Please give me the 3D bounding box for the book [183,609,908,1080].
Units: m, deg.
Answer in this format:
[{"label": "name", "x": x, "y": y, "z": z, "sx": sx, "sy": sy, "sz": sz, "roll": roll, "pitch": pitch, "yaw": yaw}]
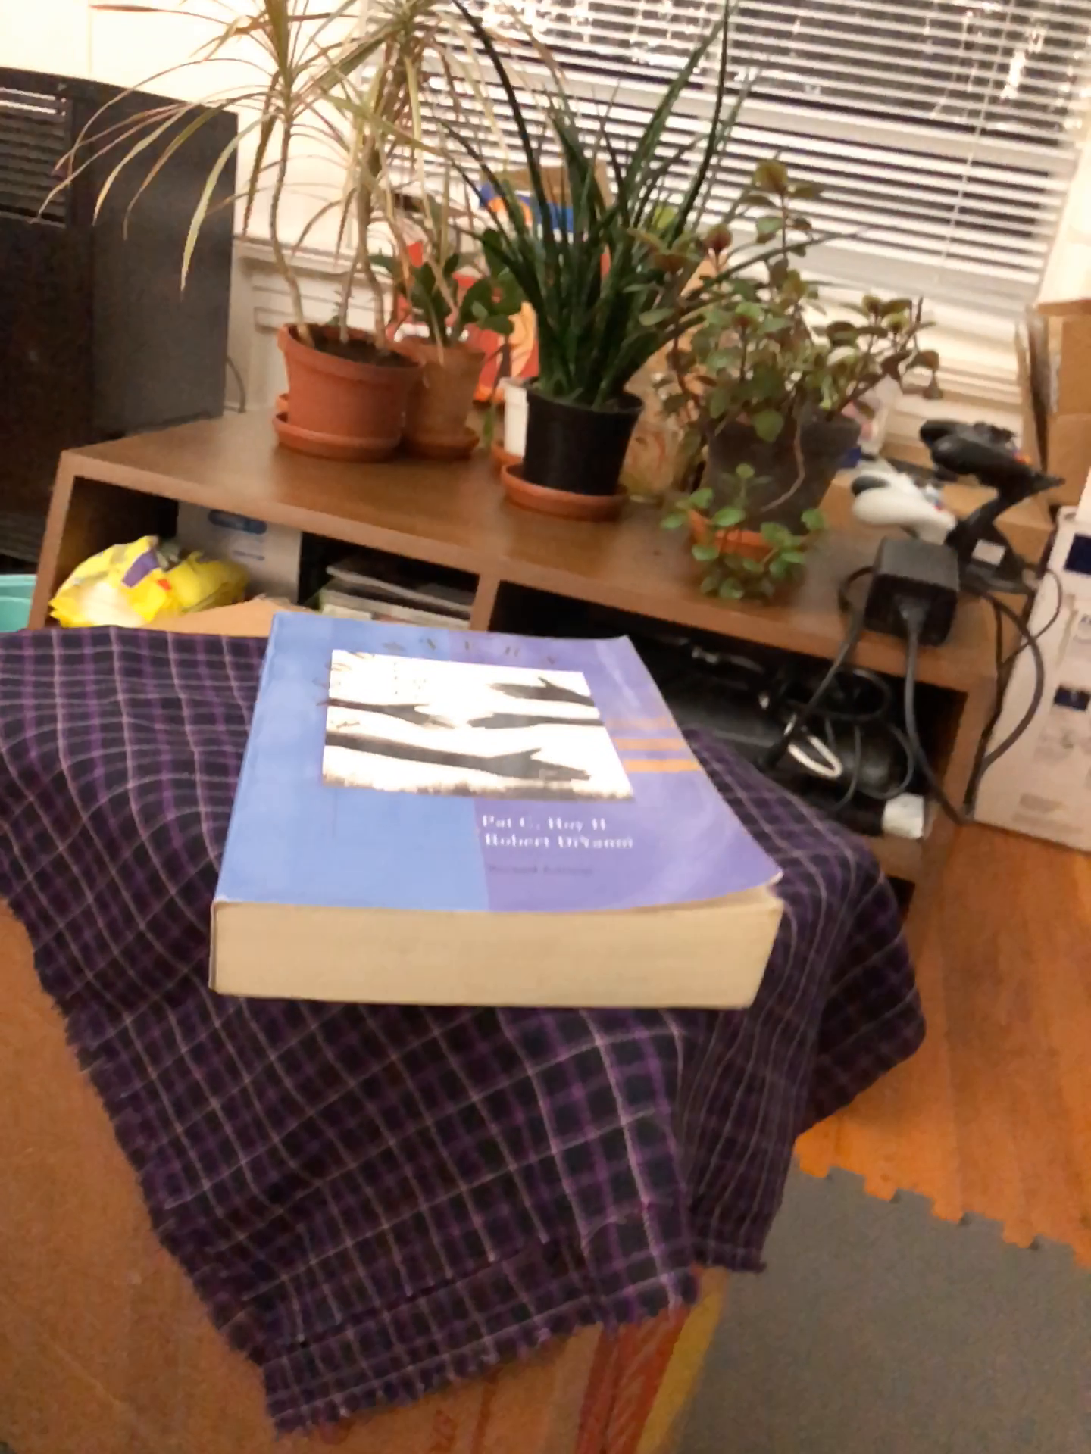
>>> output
[{"label": "book", "x": -0.015, "y": 0.026, "z": 0.453, "sx": 0.200, "sy": 0.040, "sz": 0.261, "roll": 5, "pitch": 23, "yaw": -11}]
